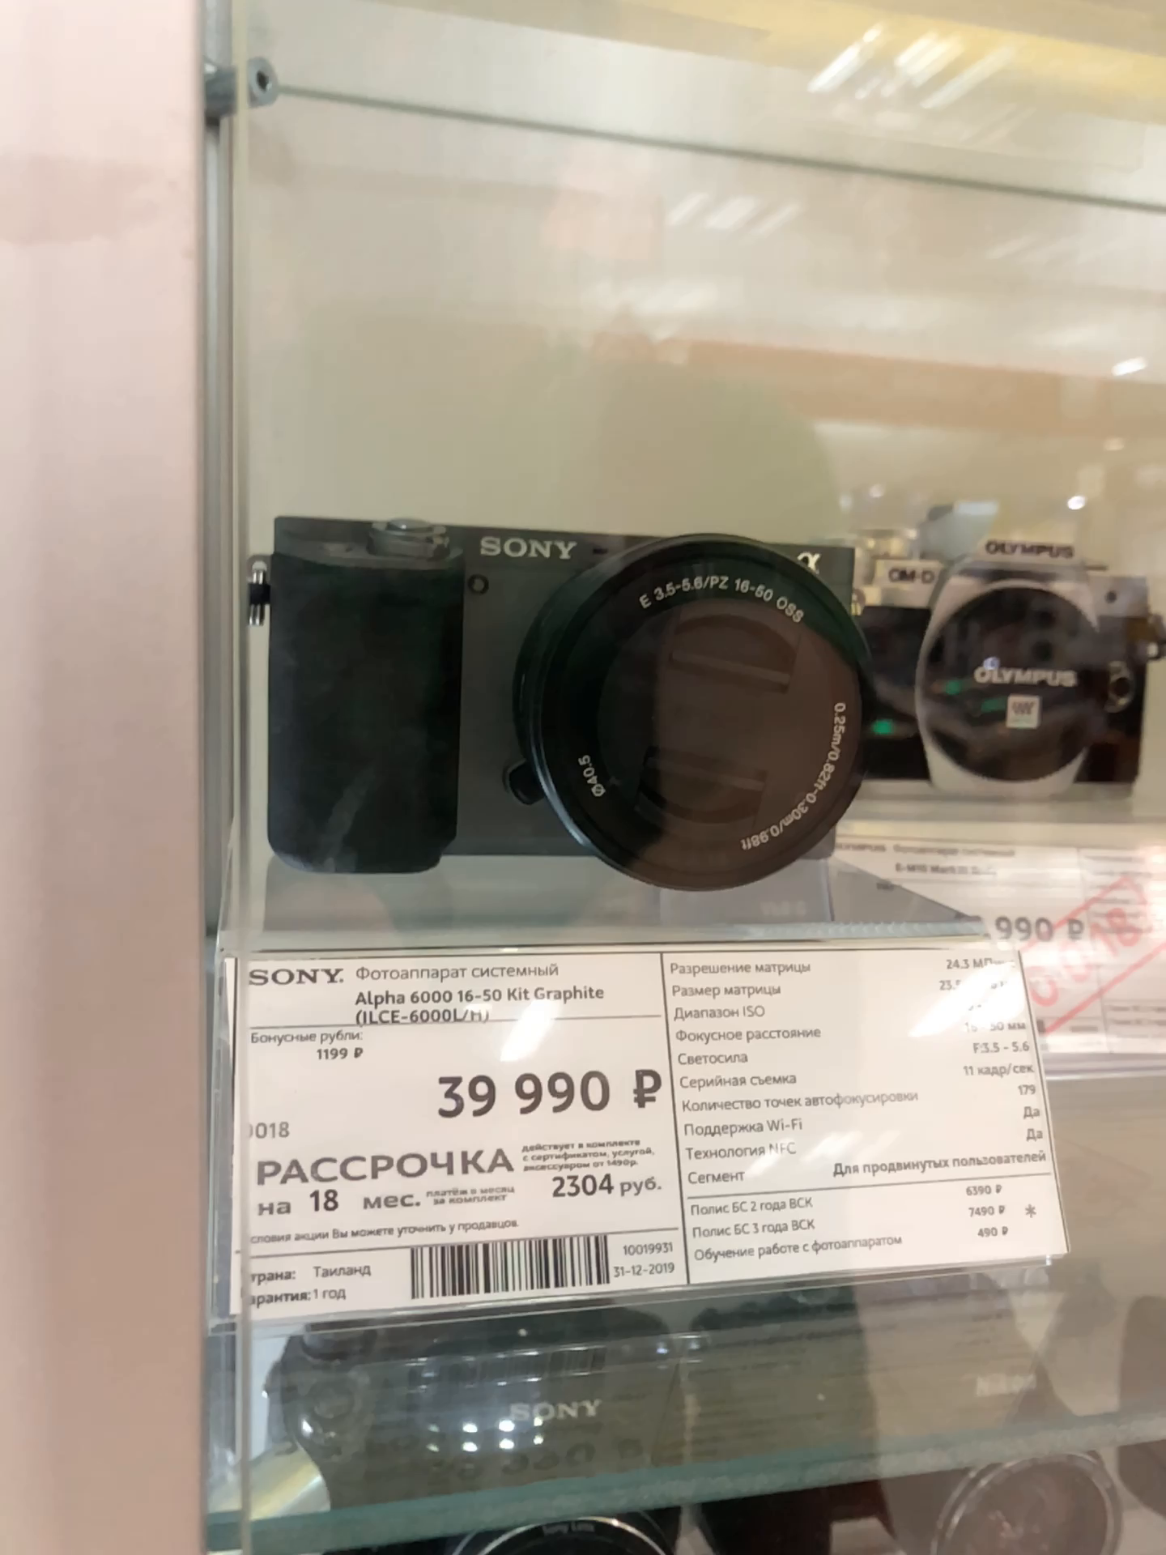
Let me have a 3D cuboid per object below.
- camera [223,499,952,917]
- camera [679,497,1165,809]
[{"bbox_3d":[-0.003,-0.015,0.264,0.130,0.070,0.066,0,7,-12],"label":"camera"},{"bbox_3d":[0.101,-0.038,0.396,0.122,0.081,0.087,0,7,-12],"label":"camera"}]
